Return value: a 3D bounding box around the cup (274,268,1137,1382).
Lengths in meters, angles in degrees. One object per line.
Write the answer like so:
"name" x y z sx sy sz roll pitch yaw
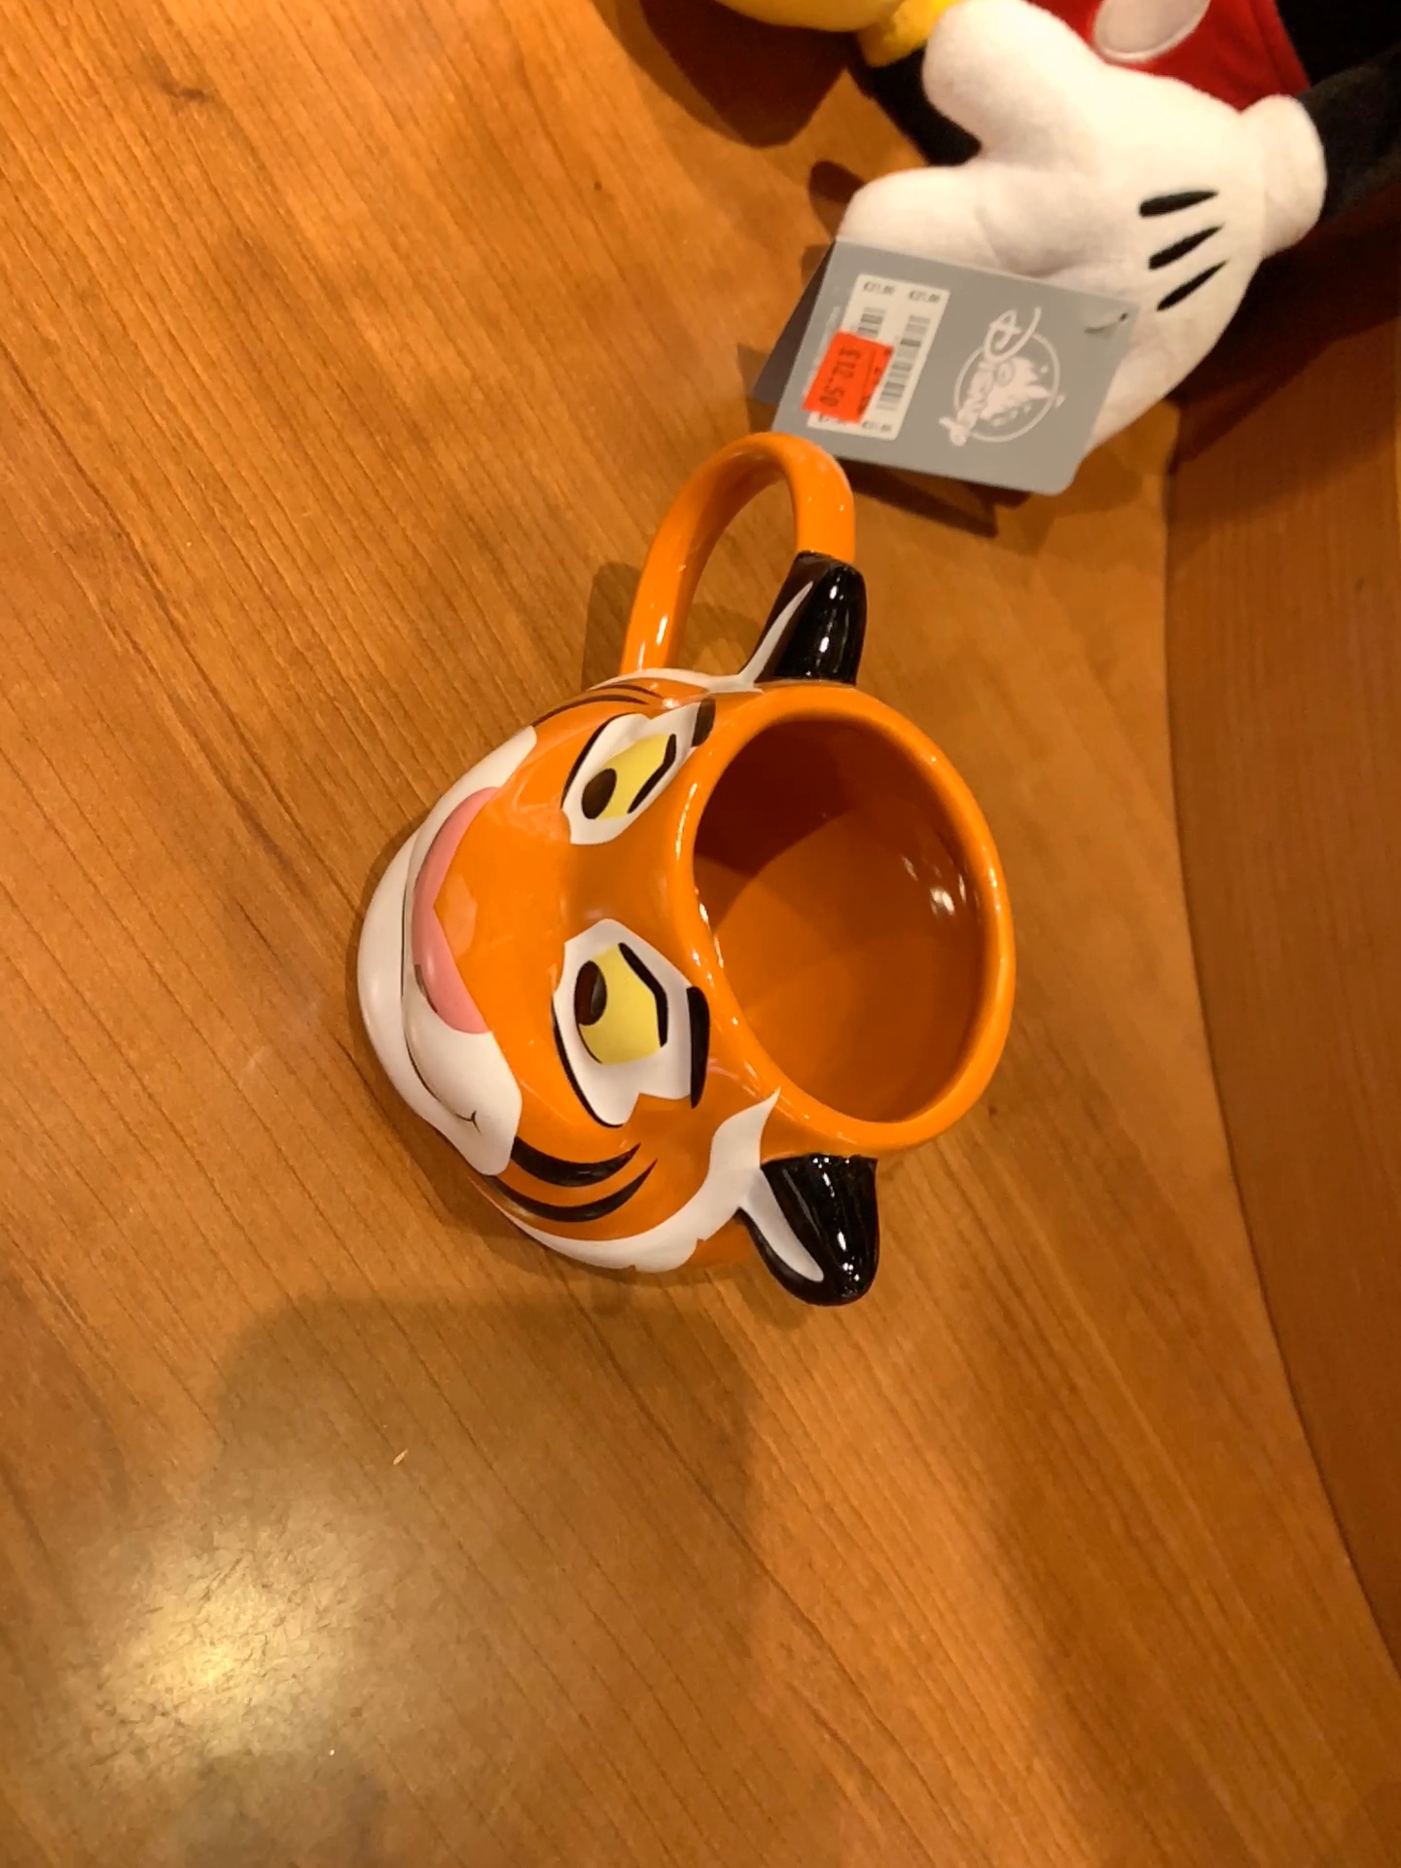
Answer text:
"cup" 0.000 -0.005 0.250 0.107 0.087 0.150 11 72 -37
